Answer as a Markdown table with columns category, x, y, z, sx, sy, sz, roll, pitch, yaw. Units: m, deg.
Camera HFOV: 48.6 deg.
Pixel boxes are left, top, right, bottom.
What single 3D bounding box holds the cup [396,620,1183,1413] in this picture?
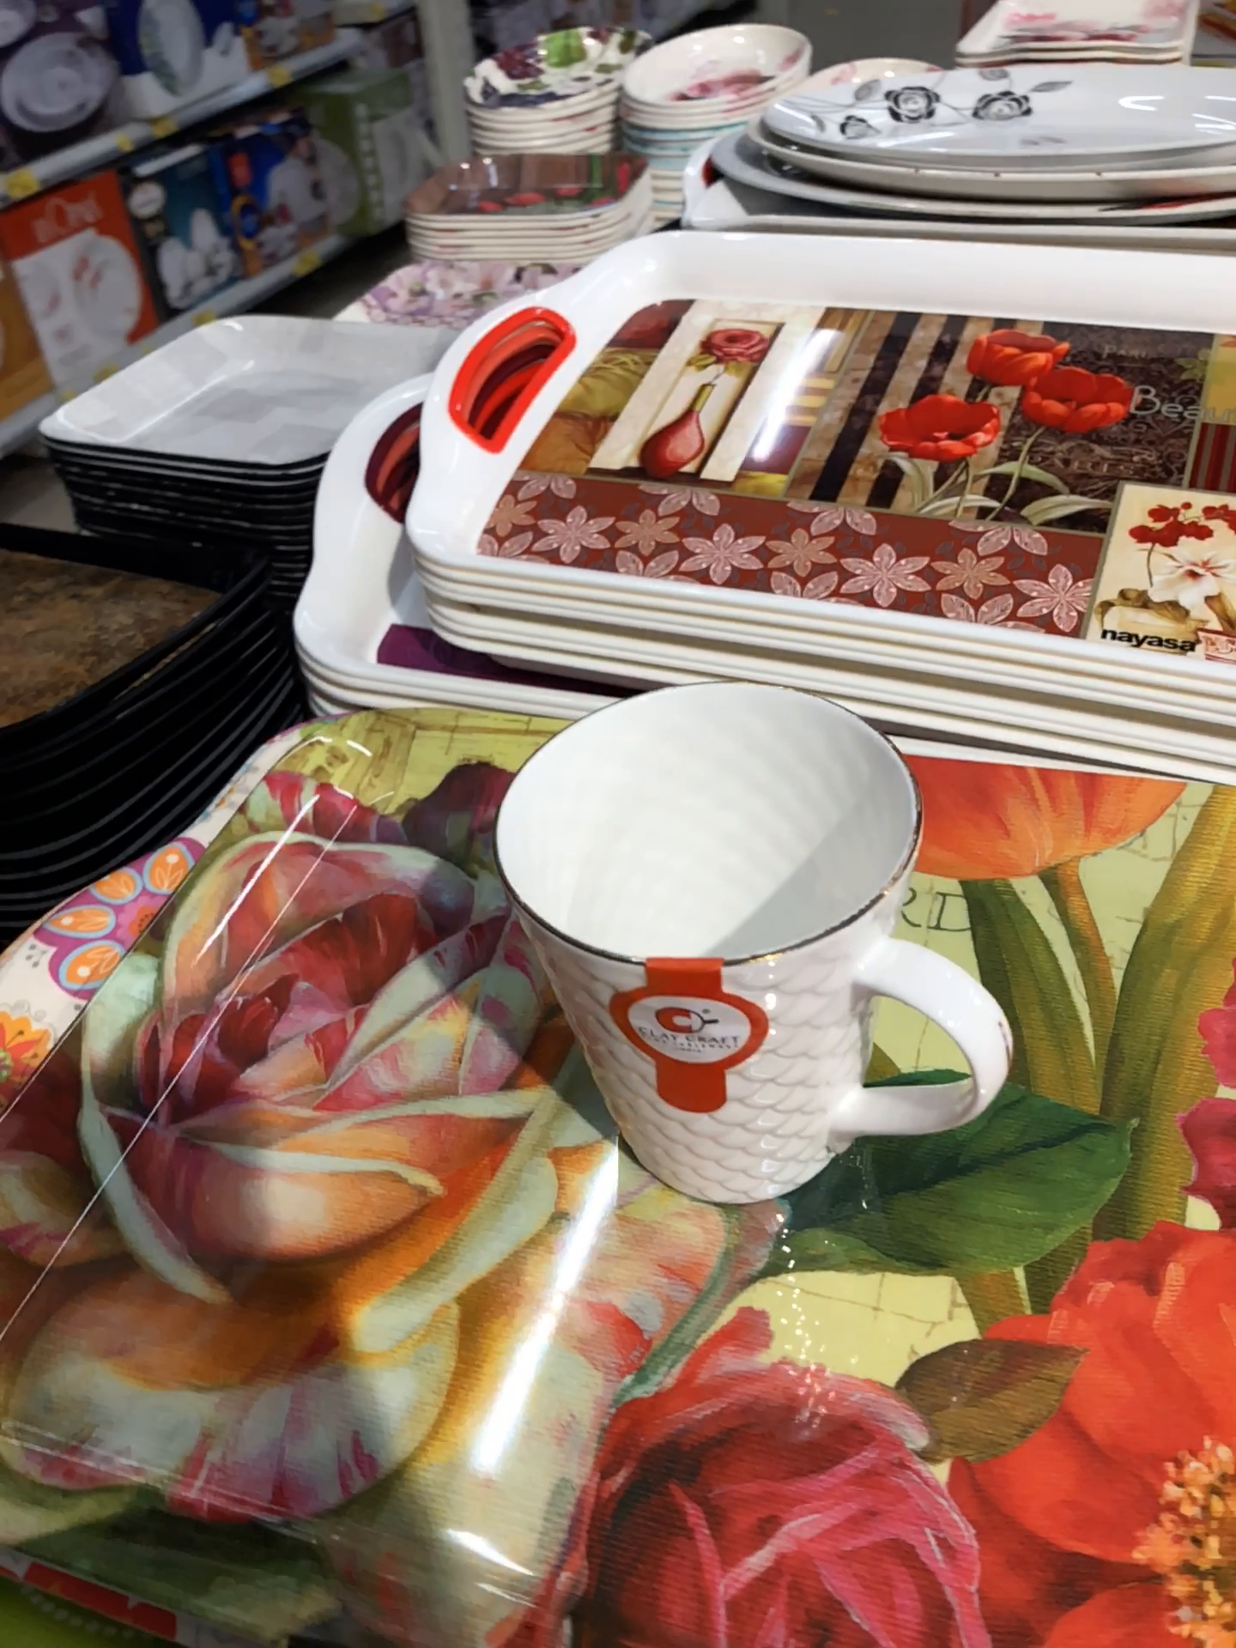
| category | x | y | z | sx | sy | sz | roll | pitch | yaw |
| --- | --- | --- | --- | --- | --- | --- | --- | --- | --- |
| cup | 0.037 | 0.033 | 0.300 | 0.120 | 0.089 | 0.101 | 24 | 47 | 32 |
